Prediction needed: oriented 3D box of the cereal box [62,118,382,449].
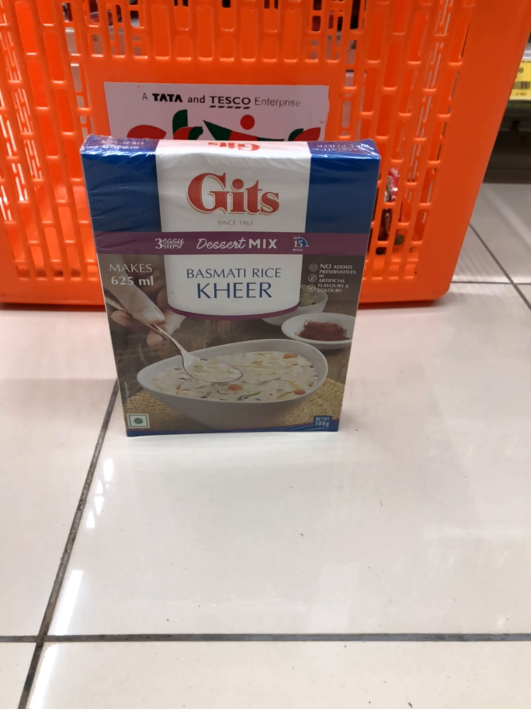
[{"bbox_3d":[-0.018,-0.024,0.280,0.120,0.159,0.030,-1,35,-4],"label":"cereal box"}]
